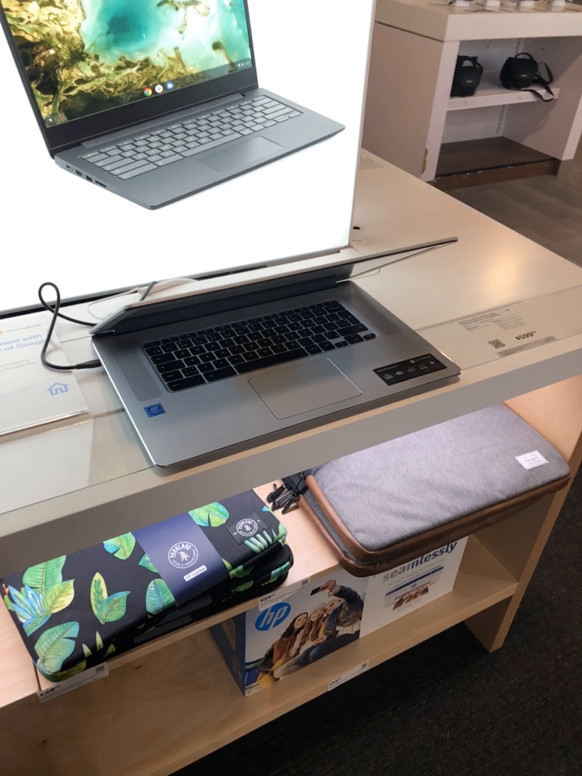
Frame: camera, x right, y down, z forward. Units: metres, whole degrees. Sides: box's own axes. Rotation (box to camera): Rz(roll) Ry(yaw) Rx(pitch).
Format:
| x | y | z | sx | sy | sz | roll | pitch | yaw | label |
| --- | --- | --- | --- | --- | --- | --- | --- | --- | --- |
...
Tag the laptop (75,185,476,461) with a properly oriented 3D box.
| x | y | z | sx | sy | sz | roll | pitch | yaw | label |
| --- | --- | --- | --- | --- | --- | --- | --- | --- | --- |
| -0.018 | -0.098 | 0.721 | 0.365 | 0.146 | 0.231 | -16 | 42 | -26 | laptop |
